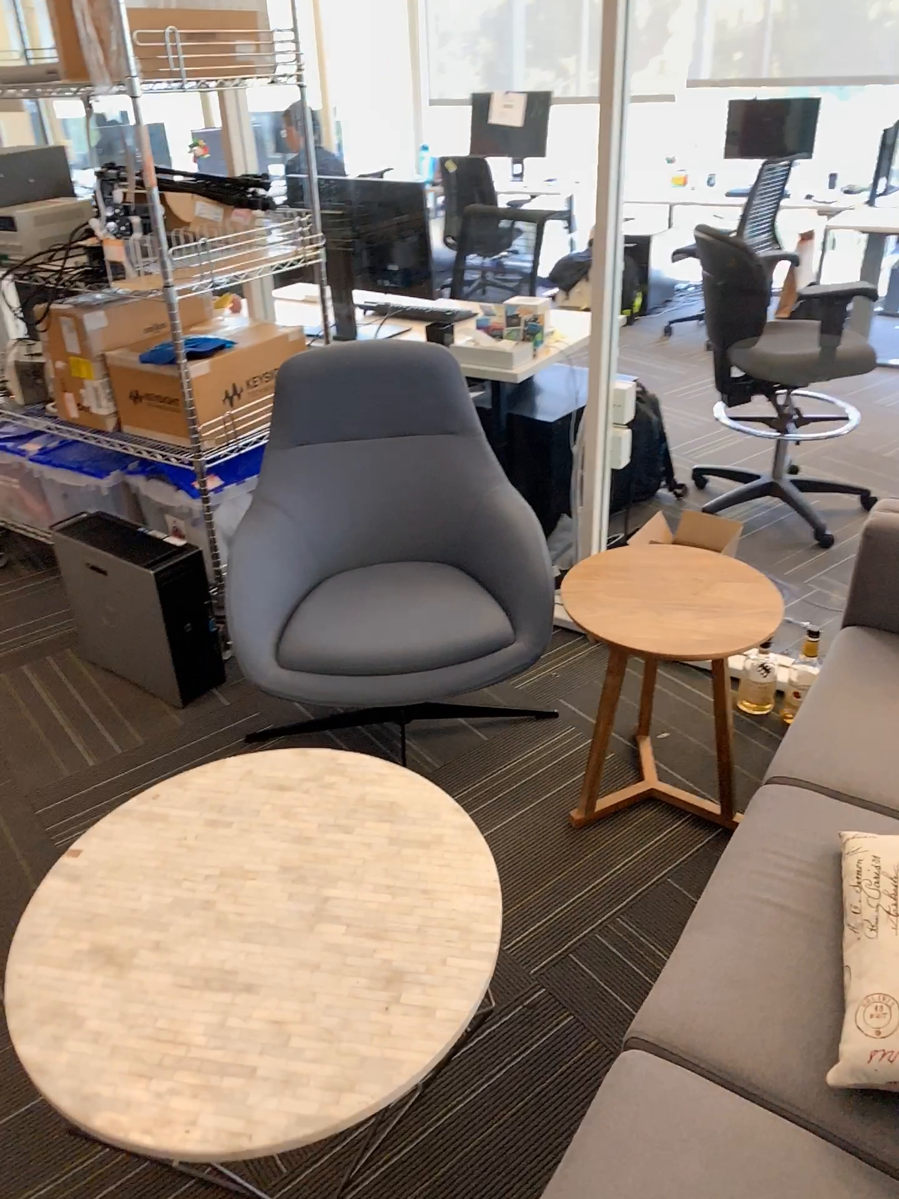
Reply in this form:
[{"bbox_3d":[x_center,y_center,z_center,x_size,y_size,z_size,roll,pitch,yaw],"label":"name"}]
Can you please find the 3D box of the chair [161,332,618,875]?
[{"bbox_3d":[-0.118,-0.050,2.354,0.840,0.964,1.006,-4,30,-2],"label":"chair"}]
